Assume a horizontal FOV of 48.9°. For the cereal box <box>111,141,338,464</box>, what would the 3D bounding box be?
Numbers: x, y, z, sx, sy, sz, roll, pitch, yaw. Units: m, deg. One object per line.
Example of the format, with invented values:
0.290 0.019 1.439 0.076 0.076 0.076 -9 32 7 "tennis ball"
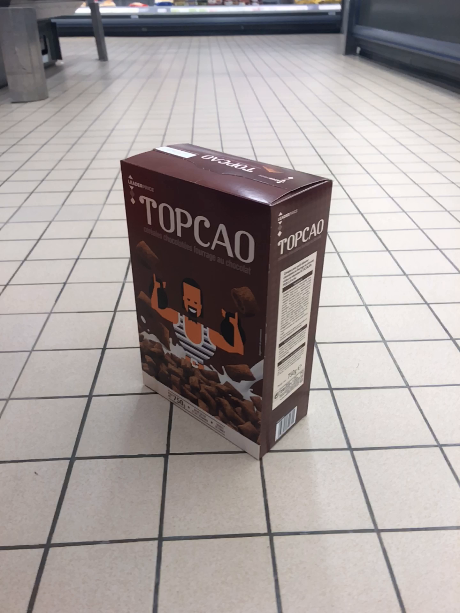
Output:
-0.012 -0.009 0.557 0.200 0.288 0.101 25 39 34 "cereal box"
